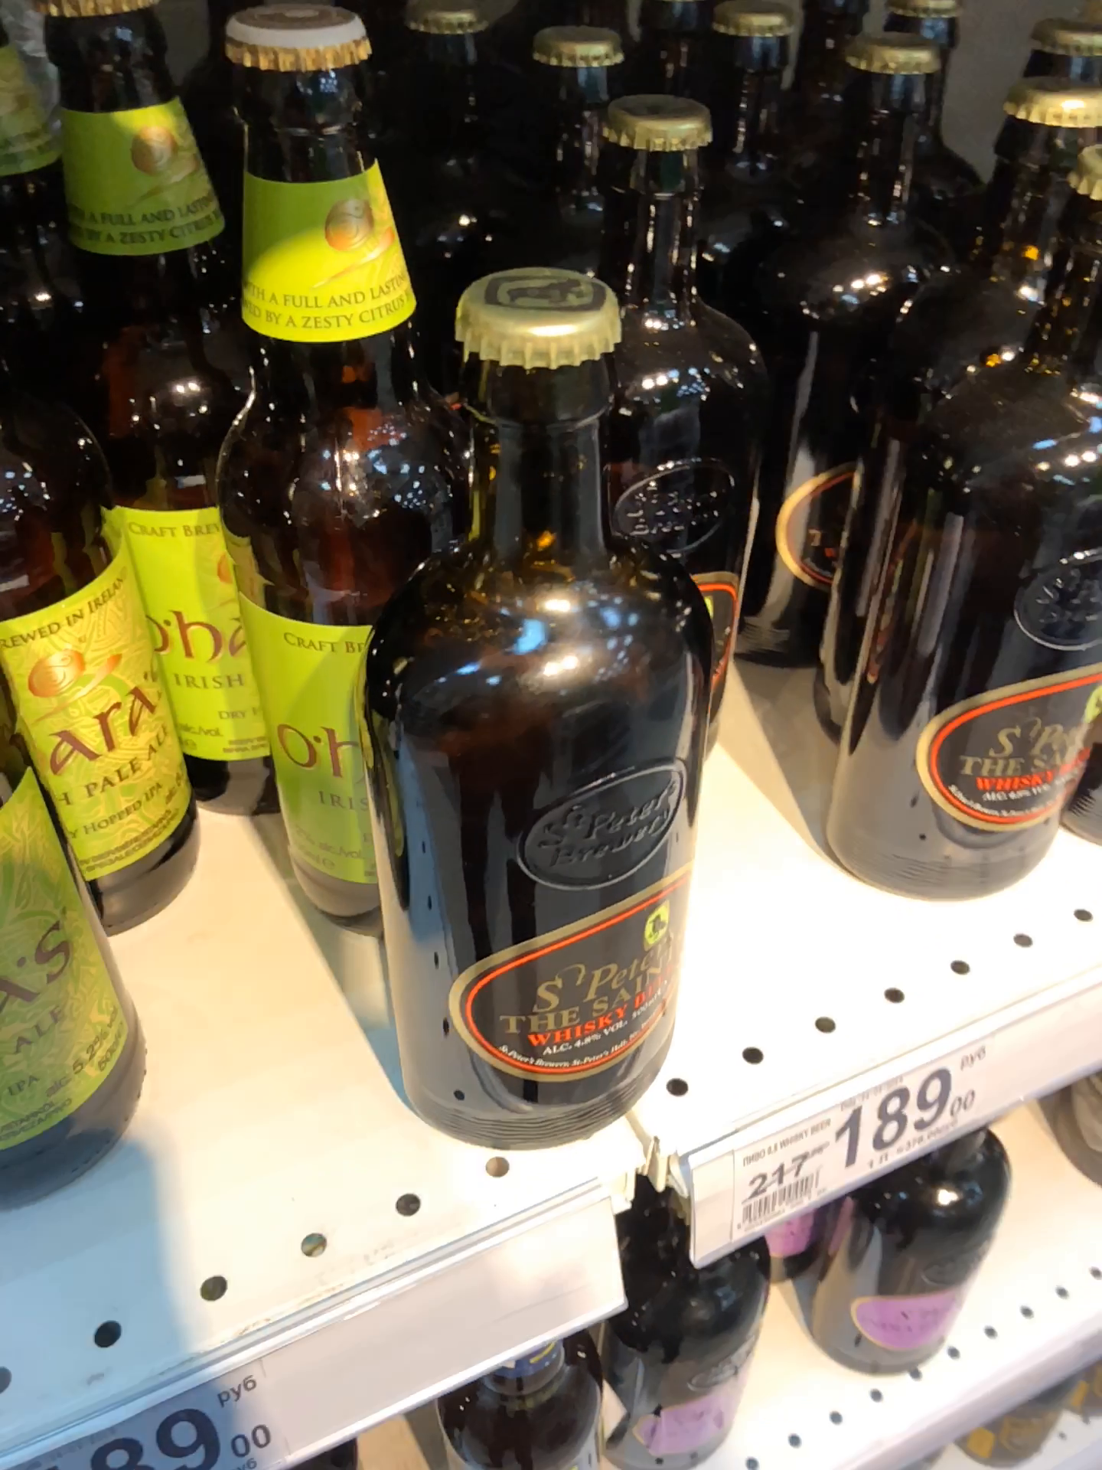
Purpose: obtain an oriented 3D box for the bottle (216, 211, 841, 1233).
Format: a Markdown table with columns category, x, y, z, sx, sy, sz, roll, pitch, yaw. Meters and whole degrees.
| category | x | y | z | sx | sy | sz | roll | pitch | yaw |
| --- | --- | --- | --- | --- | --- | --- | --- | --- | --- |
| bottle | -0.006 | 0.013 | 0.282 | 0.090 | 0.229 | 0.060 | -17 | 43 | -20 |
